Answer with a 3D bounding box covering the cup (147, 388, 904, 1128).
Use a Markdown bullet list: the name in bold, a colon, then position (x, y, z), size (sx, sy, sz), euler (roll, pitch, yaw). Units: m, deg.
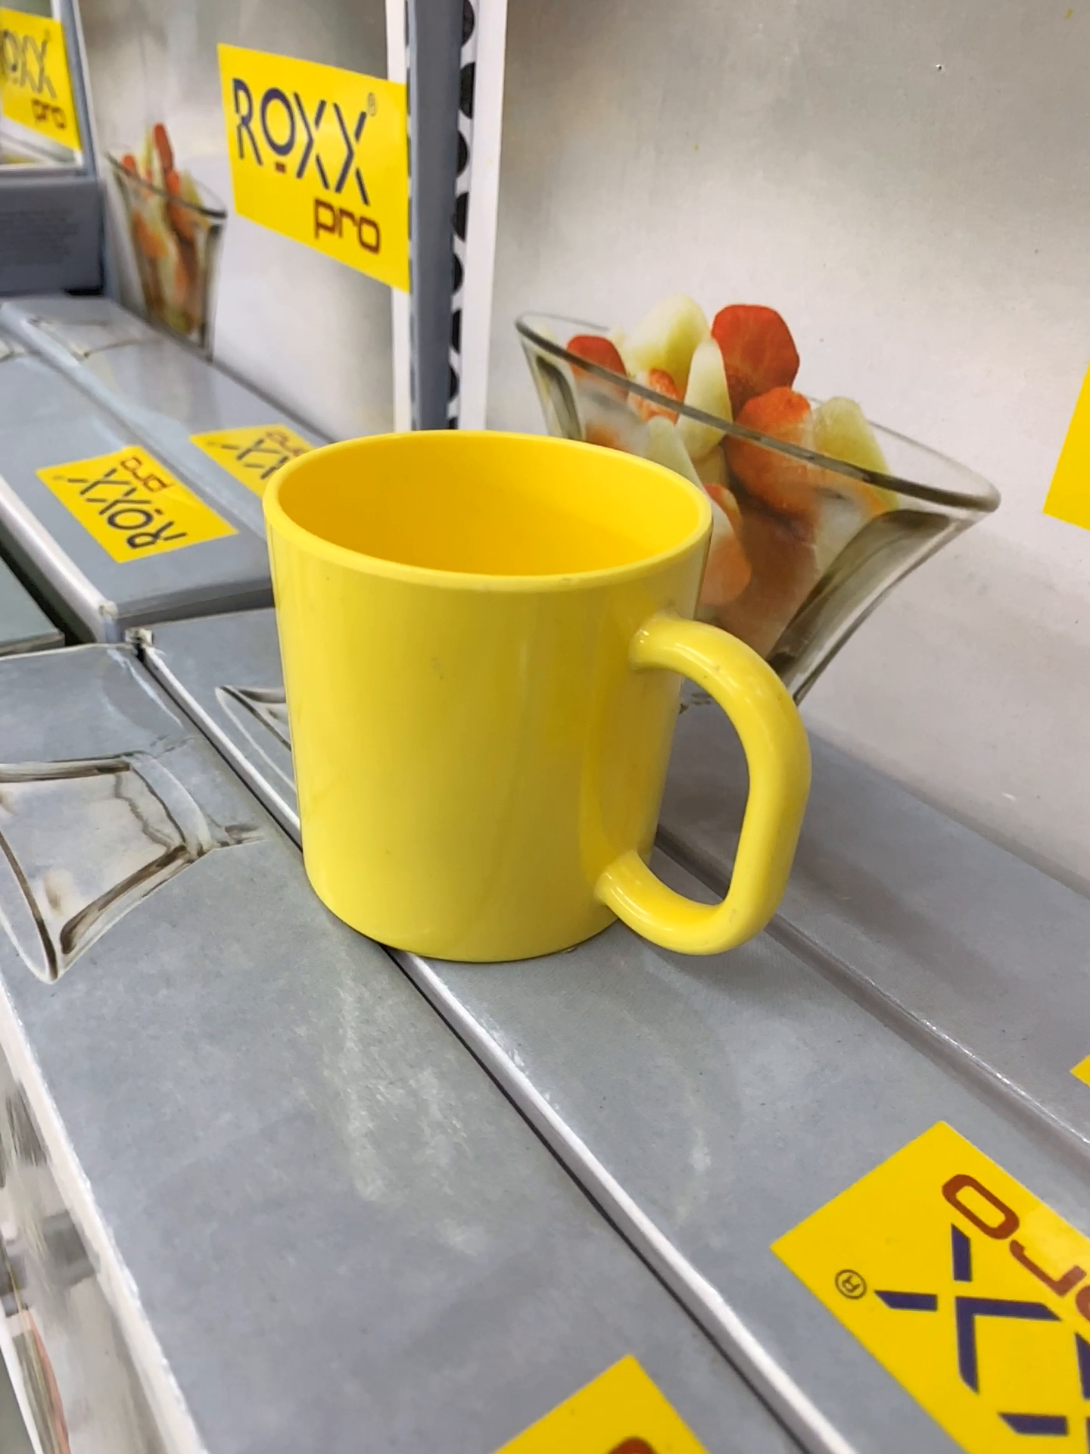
- **cup**: position (-0.009, -0.006, 0.191), size (0.072, 0.069, 0.096), euler (-20, 39, -35)
